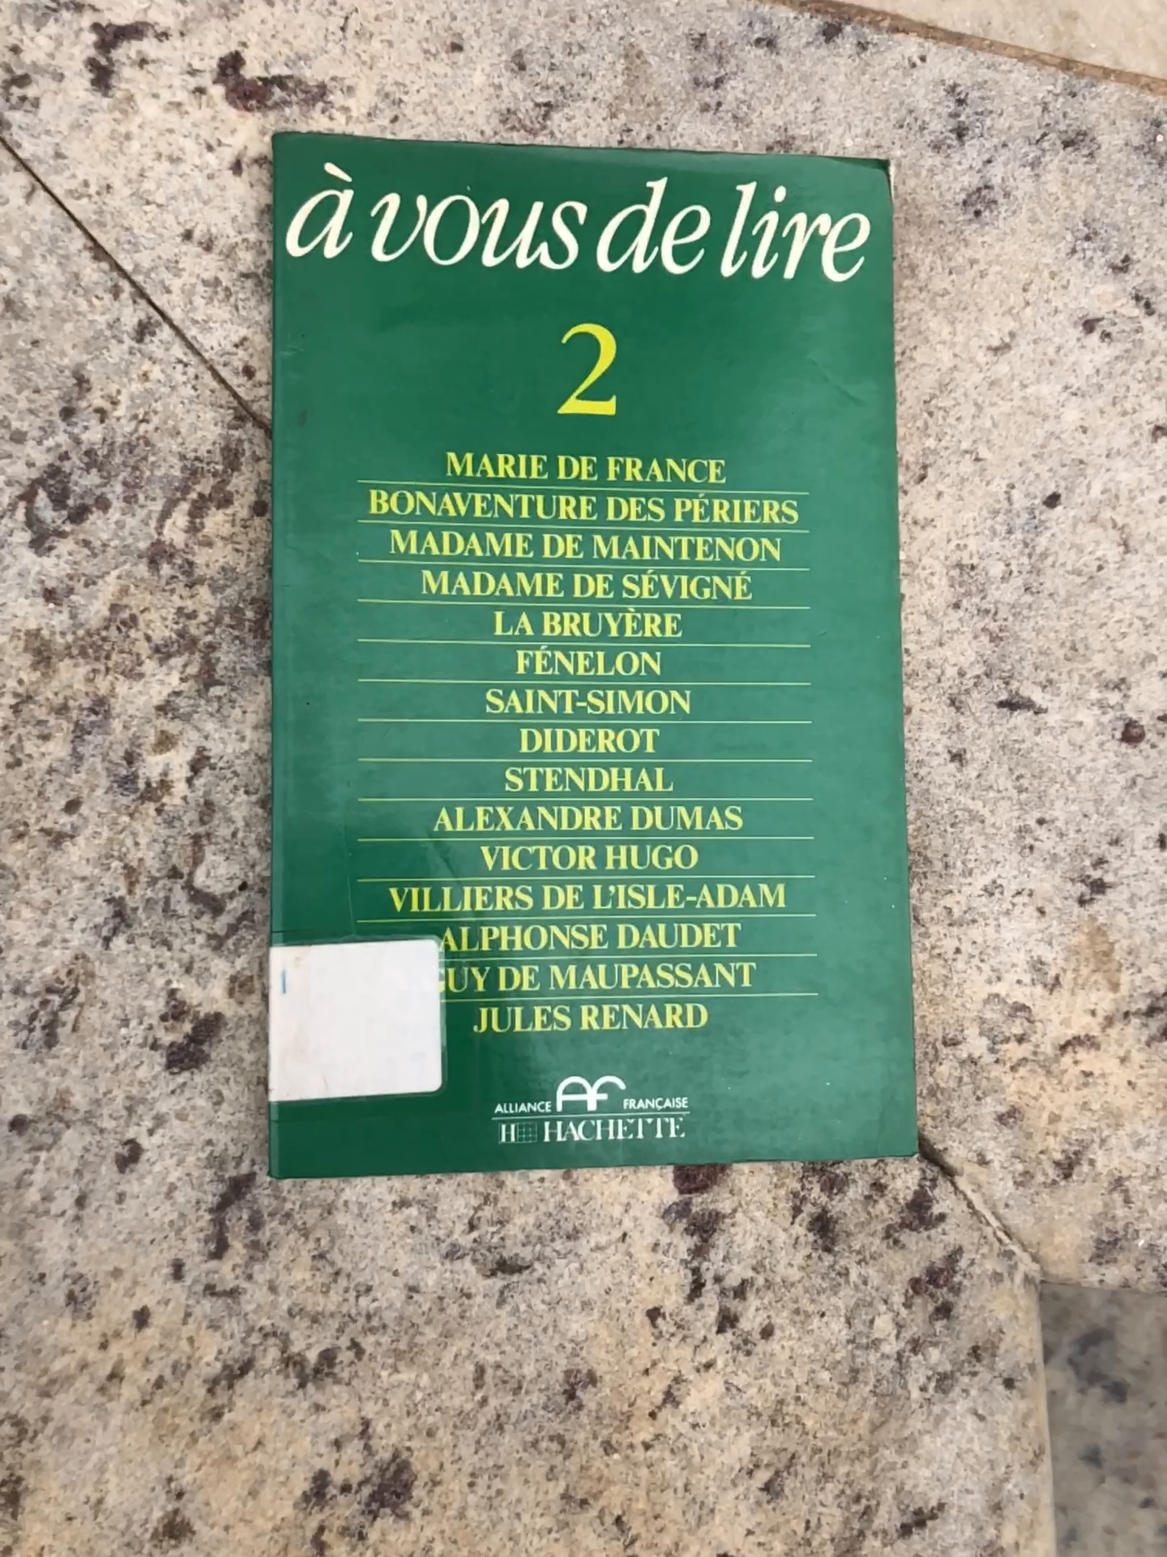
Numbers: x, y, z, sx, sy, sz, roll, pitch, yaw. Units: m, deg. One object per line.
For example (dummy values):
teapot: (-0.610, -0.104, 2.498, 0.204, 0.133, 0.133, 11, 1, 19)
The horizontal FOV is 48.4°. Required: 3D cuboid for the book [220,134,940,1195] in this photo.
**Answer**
book: (-0.001, -0.025, 0.269, 0.140, 0.017, 0.210, 0, 85, -5)
